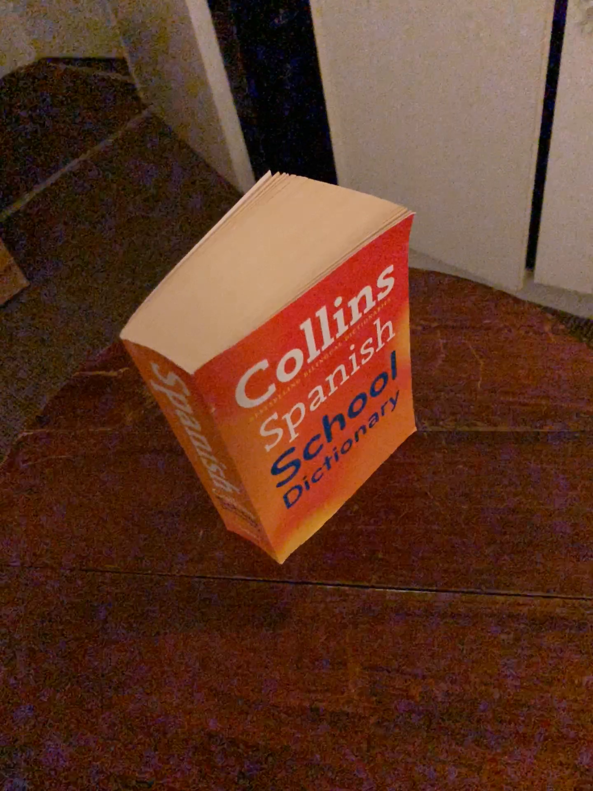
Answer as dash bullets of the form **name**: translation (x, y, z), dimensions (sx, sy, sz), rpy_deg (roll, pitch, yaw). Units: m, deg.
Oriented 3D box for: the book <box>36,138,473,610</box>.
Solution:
- **book**: translation (-0.004, -0.010, 0.285), dimensions (0.140, 0.149, 0.080), rpy_deg (-44, 44, -18)
